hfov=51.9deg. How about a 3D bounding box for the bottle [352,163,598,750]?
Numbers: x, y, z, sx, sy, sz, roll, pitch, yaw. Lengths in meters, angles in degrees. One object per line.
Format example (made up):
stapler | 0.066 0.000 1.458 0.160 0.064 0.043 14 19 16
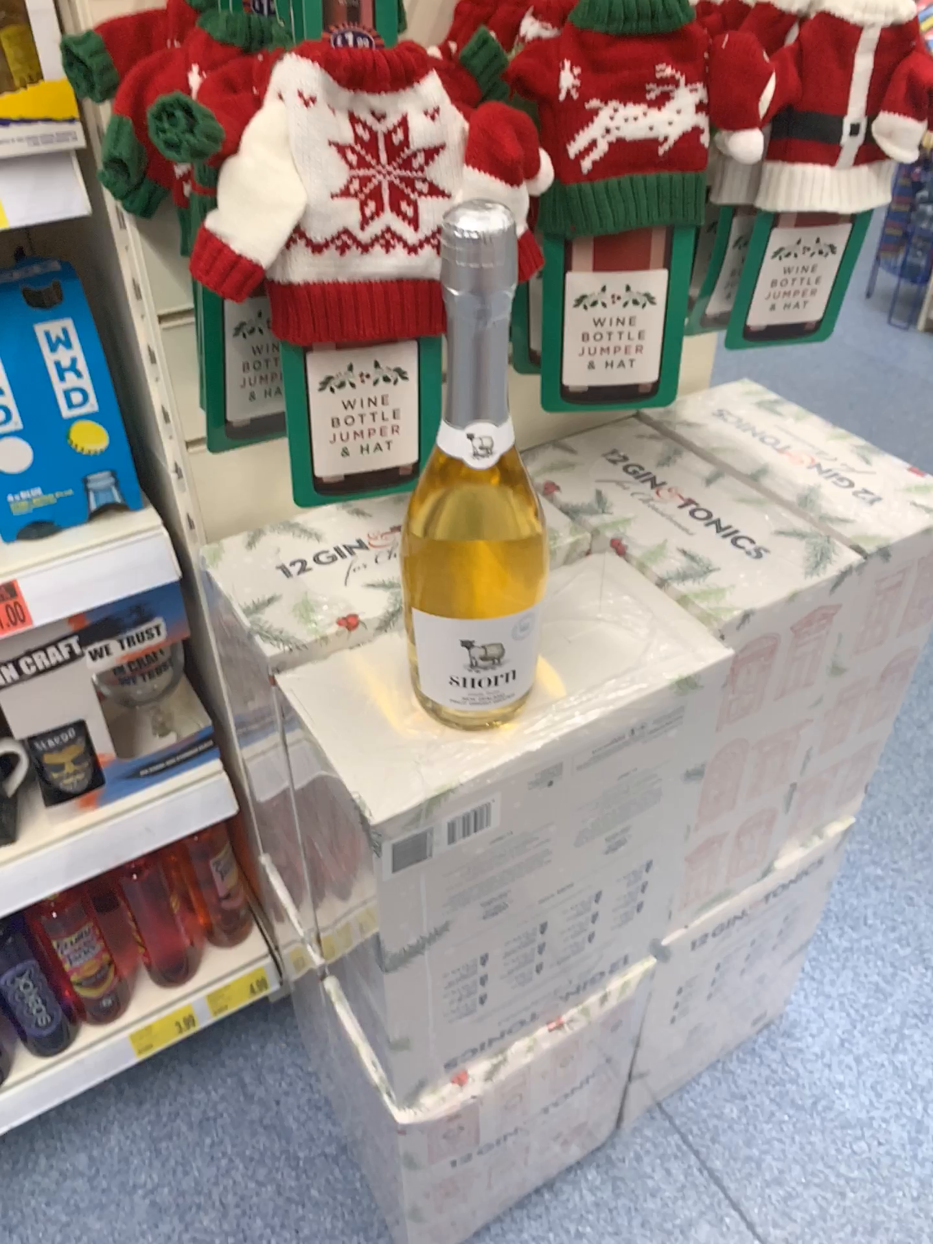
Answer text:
bottle | 0.002 -0.075 0.525 0.094 0.298 0.095 -1 38 1
